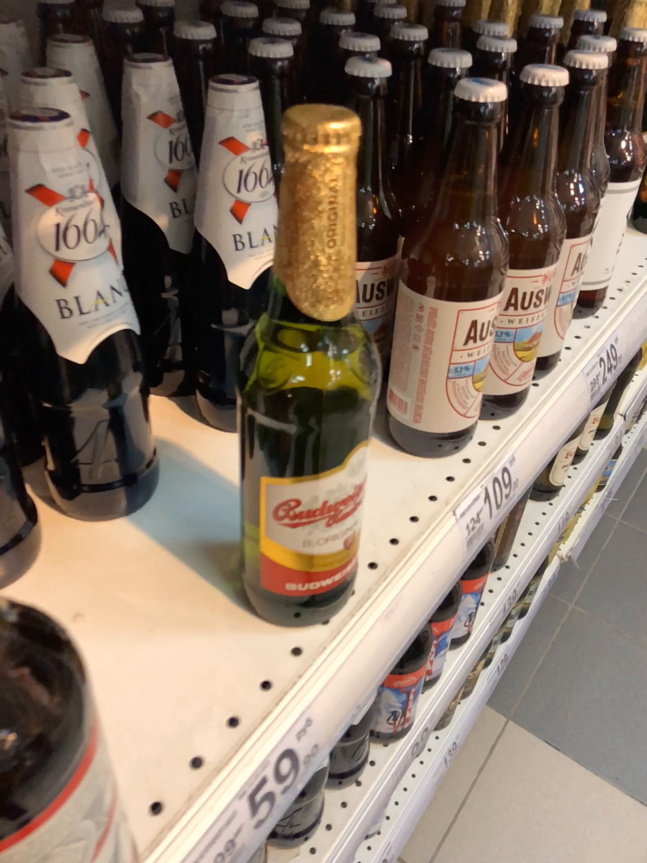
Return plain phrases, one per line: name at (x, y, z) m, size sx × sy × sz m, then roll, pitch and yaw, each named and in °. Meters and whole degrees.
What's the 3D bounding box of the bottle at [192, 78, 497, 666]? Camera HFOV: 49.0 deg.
bottle at (-0.001, -0.012, 0.325) m, size 0.080 × 0.254 × 0.070 m, roll -23°, pitch 47°, yaw -31°
